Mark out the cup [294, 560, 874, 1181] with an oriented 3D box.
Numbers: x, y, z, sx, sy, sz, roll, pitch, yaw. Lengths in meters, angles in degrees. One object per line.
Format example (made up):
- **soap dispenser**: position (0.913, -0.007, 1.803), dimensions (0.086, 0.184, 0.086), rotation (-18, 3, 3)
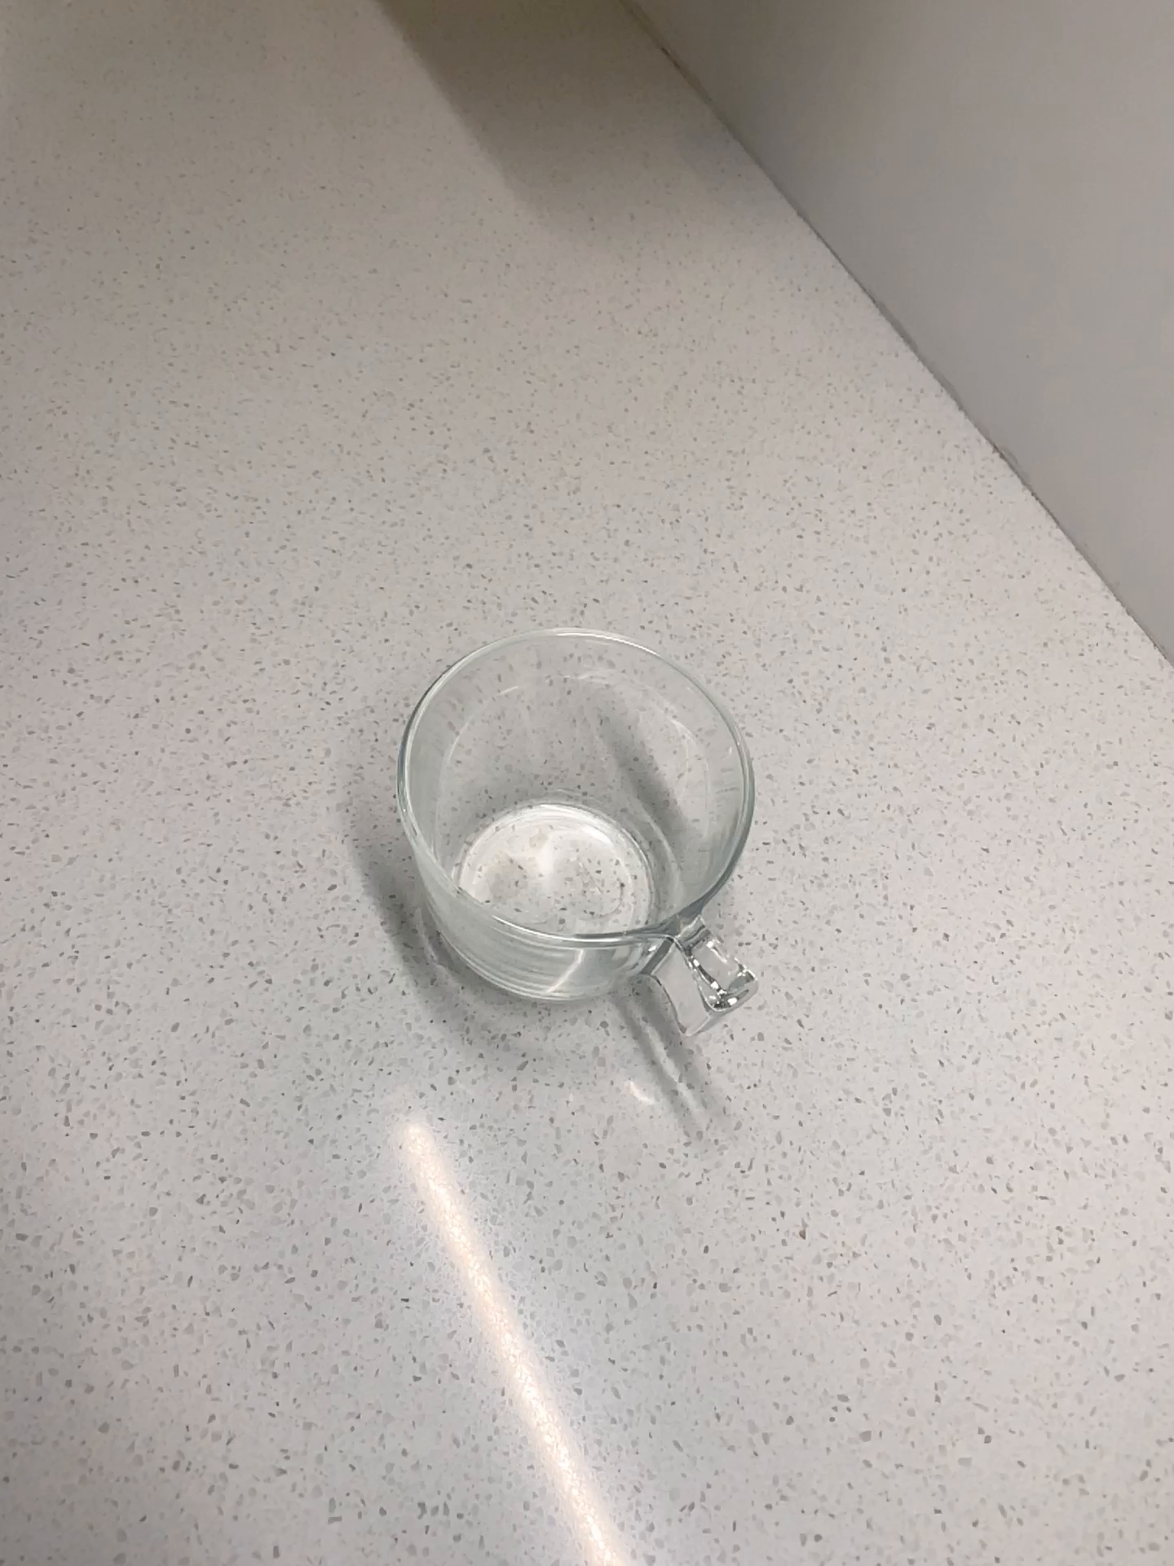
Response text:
- **cup**: position (-0.006, 0.022, 0.314), dimensions (0.090, 0.080, 0.110), rotation (-26, 67, -20)
